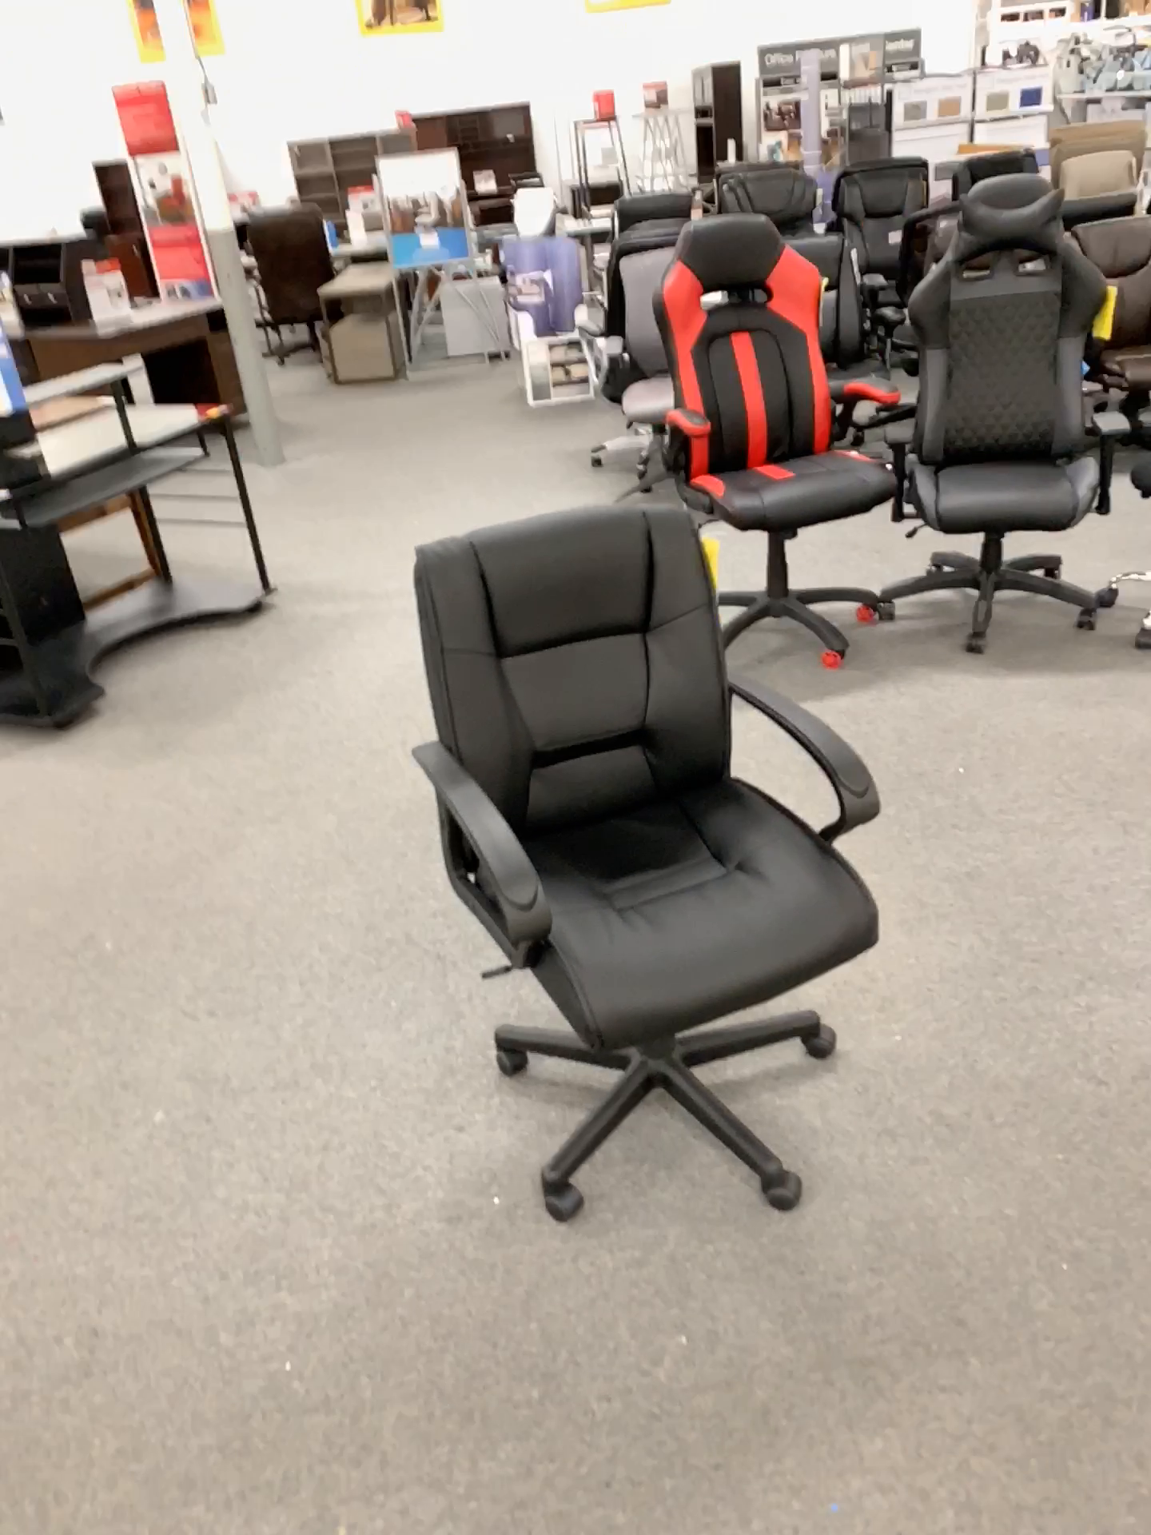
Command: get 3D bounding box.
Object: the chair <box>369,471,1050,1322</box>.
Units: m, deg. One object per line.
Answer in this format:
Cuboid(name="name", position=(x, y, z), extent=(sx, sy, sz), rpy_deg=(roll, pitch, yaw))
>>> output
Cuboid(name="chair", position=(0.157, 0.138, 1.834), extent=(0.680, 0.965, 0.704), rpy_deg=(-14, 29, -19))
